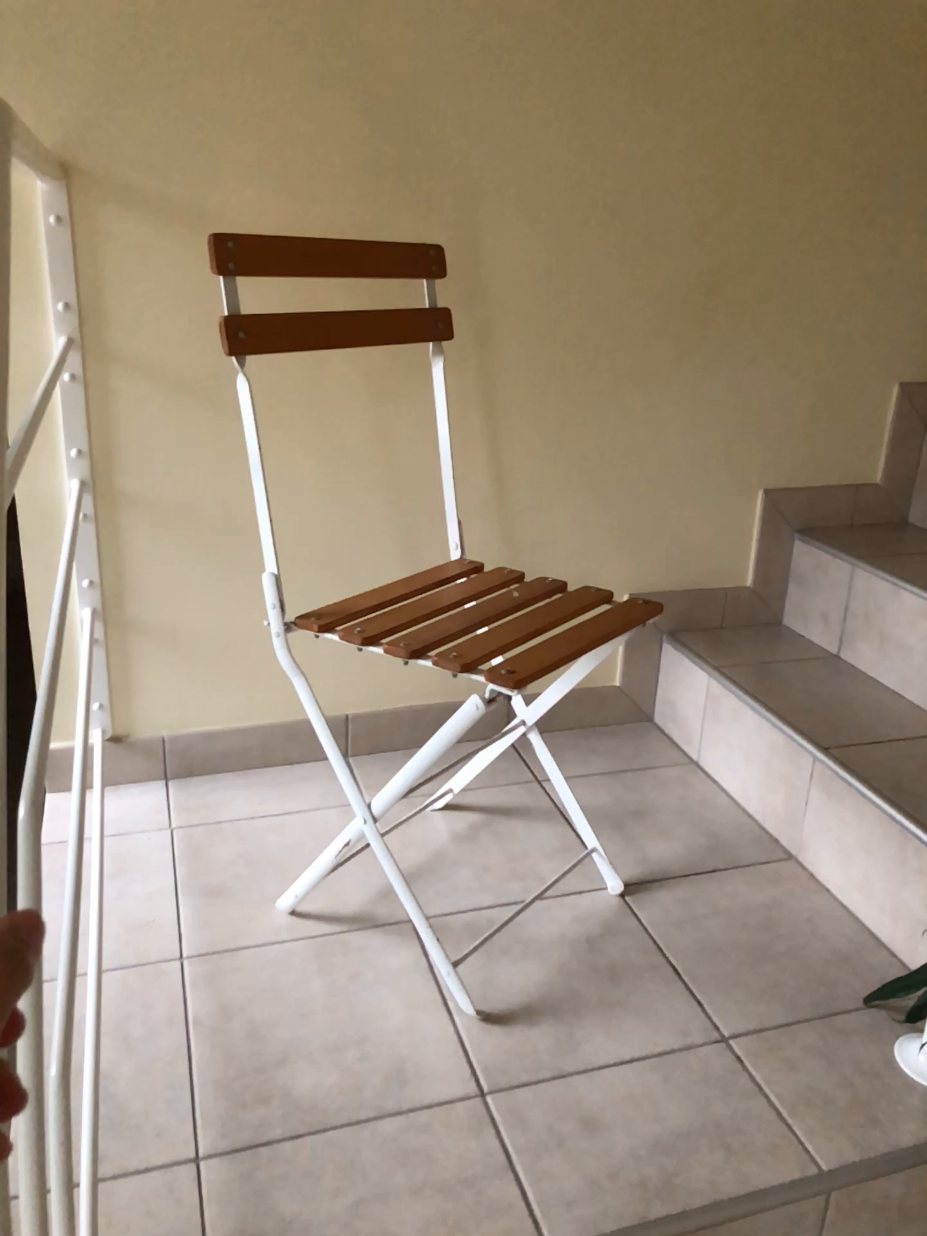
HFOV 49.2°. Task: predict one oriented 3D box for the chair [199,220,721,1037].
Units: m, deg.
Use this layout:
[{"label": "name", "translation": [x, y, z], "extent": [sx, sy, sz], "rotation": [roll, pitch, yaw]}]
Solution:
[{"label": "chair", "translation": [0.003, -0.034, 1.318], "extent": [0.430, 0.876, 0.442], "rotation": [14, 23, 35]}]
